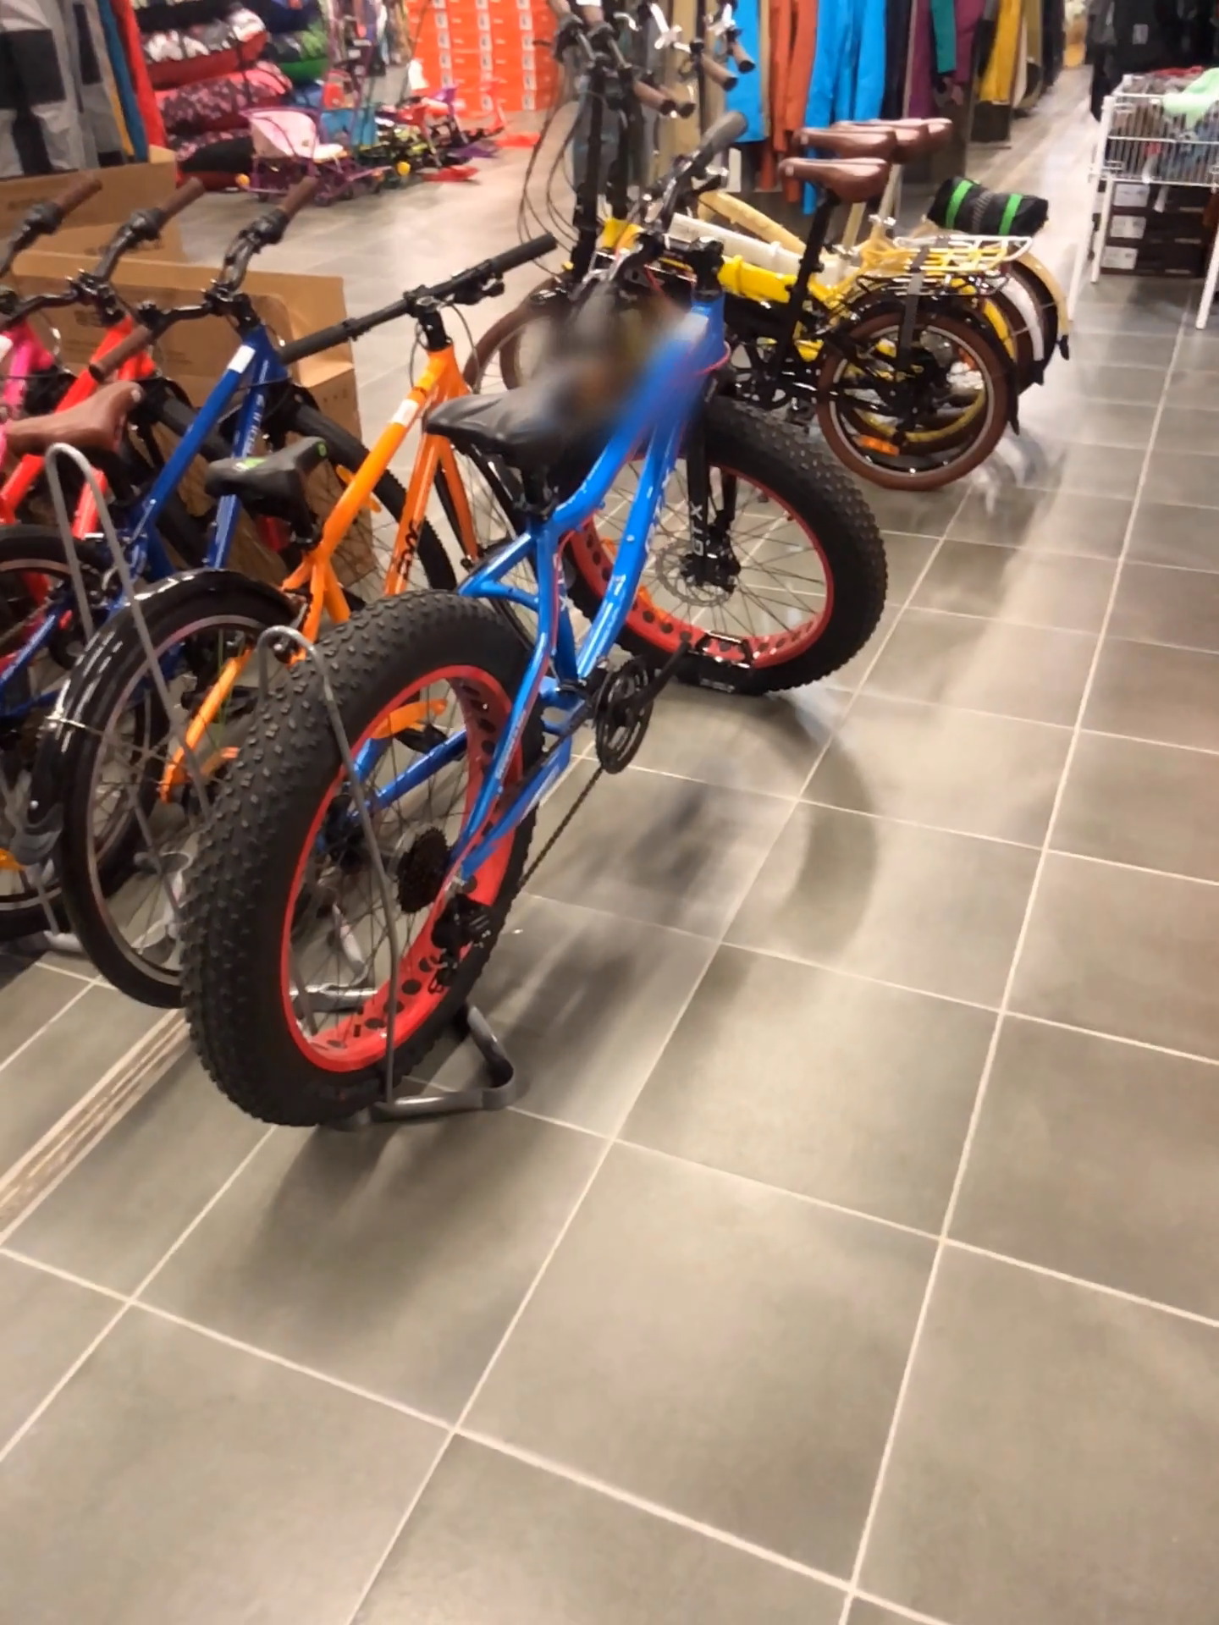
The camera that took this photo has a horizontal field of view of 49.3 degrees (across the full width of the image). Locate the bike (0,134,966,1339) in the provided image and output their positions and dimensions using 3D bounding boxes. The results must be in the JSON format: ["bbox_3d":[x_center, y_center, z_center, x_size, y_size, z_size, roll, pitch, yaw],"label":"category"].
[{"bbox_3d":[-0.014,-0.281,1.821,0.614,1.023,1.474,11,34,19],"label":"bike"}]
